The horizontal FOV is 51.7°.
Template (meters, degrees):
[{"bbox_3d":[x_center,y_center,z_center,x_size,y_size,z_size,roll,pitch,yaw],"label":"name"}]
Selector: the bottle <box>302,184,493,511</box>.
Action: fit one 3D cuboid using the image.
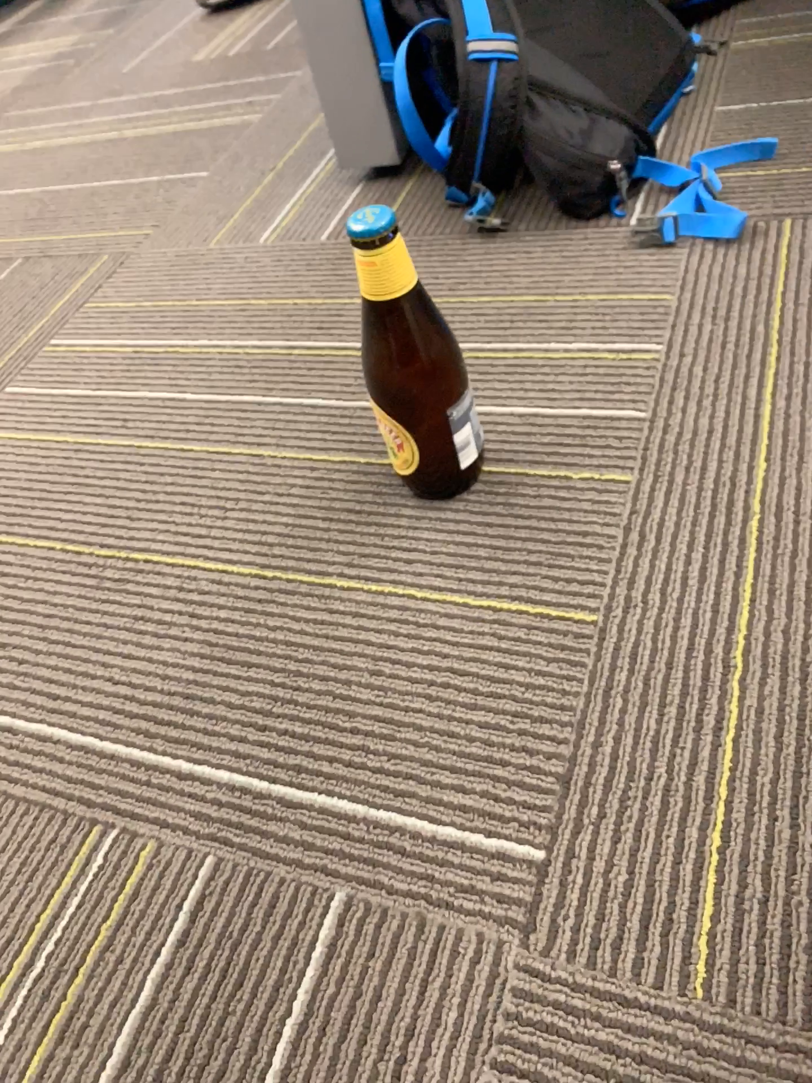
[{"bbox_3d":[0.003,-0.110,0.515,0.070,0.179,0.070,-9,47,10],"label":"bottle"}]
